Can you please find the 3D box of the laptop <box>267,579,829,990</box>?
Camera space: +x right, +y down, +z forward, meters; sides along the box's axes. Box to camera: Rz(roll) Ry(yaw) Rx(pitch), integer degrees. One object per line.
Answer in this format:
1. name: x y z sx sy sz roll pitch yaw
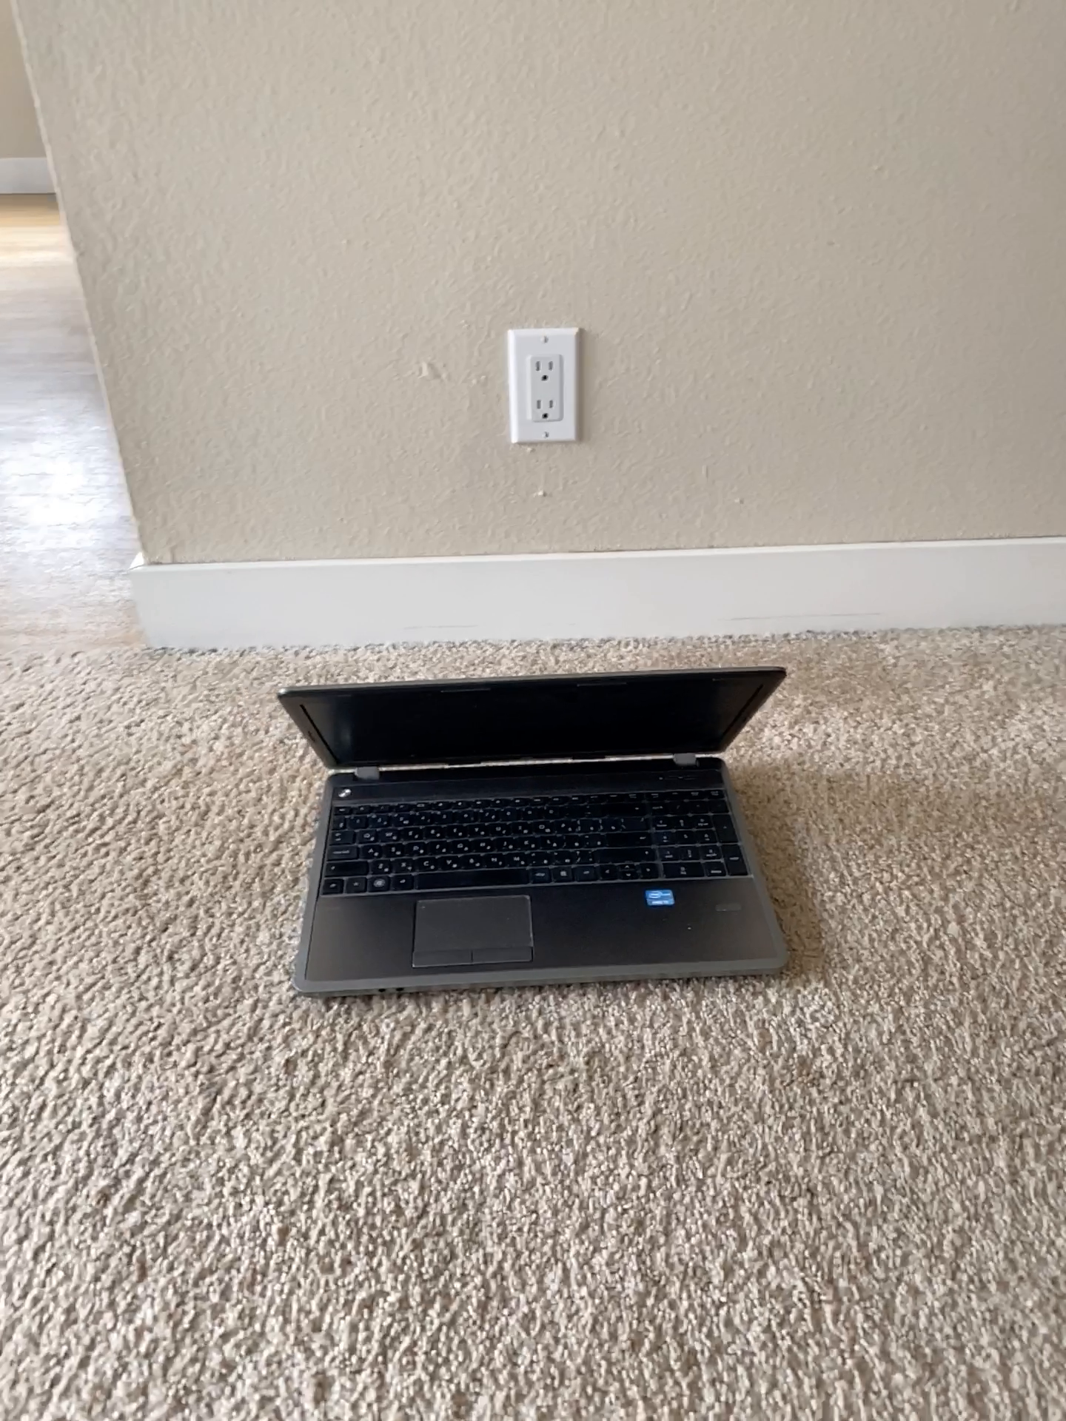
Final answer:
1. laptop: 0.003 0.048 0.863 0.370 0.189 0.250 -2 35 -3
